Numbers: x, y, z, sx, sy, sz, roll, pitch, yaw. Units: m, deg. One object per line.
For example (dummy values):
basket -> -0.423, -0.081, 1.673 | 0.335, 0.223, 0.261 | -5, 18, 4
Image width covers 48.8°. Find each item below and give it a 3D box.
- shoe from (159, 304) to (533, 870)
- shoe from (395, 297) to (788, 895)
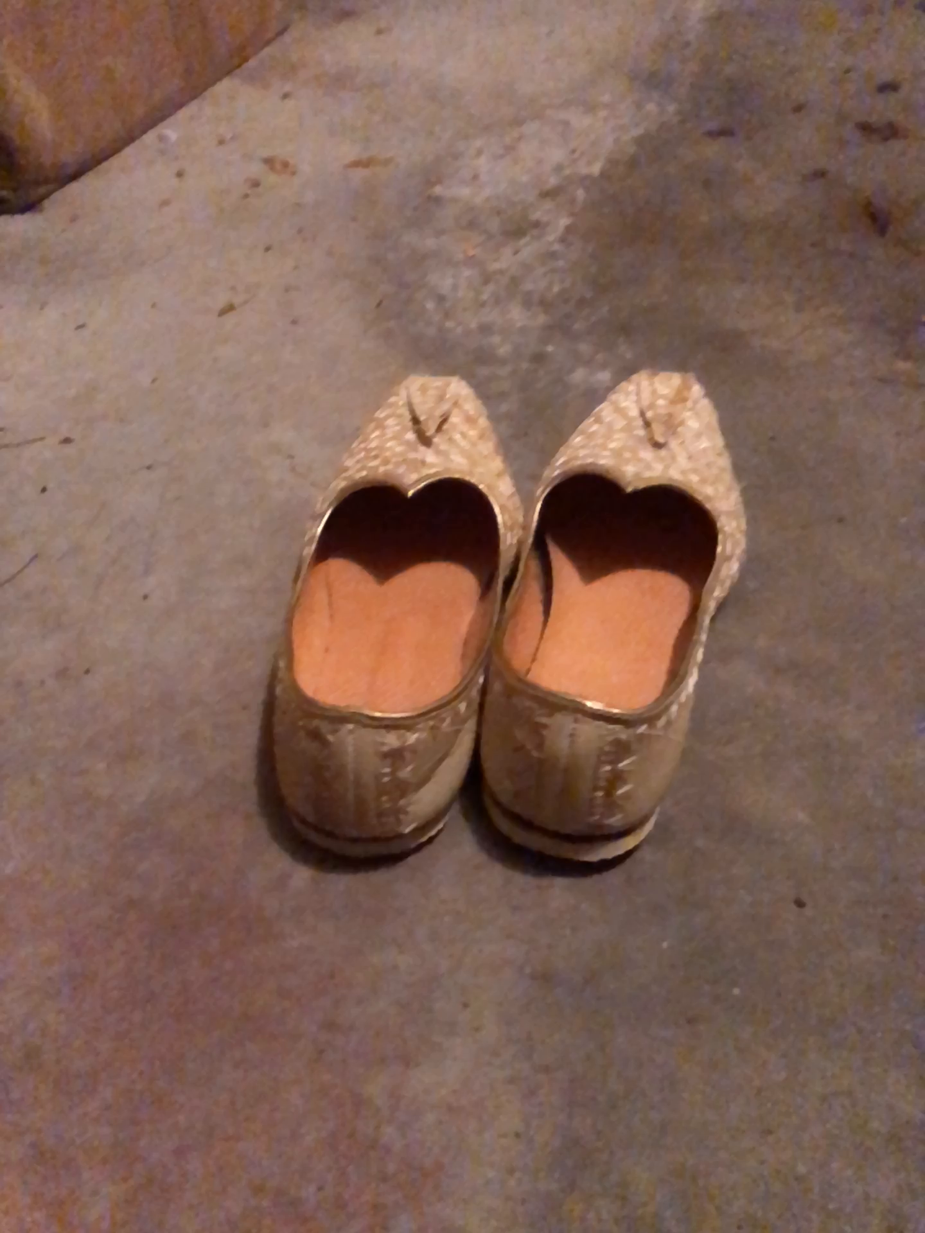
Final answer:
shoe -> -0.028, -0.035, 0.433 | 0.104, 0.073, 0.275 | 2, 43, 5
shoe -> 0.068, -0.033, 0.425 | 0.104, 0.073, 0.275 | 10, 44, 13
